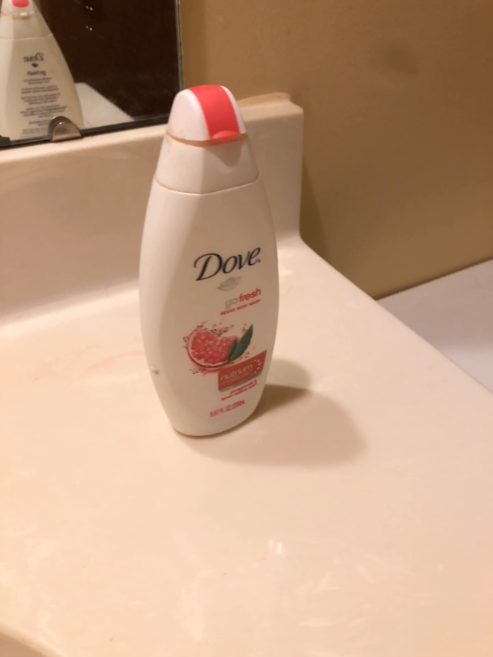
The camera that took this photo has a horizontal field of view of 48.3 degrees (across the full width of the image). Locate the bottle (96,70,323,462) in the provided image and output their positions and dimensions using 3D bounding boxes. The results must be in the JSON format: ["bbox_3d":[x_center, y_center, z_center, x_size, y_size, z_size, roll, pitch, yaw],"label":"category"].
[{"bbox_3d":[-0.014,-0.020,0.243,0.070,0.160,0.040,-18,41,-23],"label":"bottle"}]
